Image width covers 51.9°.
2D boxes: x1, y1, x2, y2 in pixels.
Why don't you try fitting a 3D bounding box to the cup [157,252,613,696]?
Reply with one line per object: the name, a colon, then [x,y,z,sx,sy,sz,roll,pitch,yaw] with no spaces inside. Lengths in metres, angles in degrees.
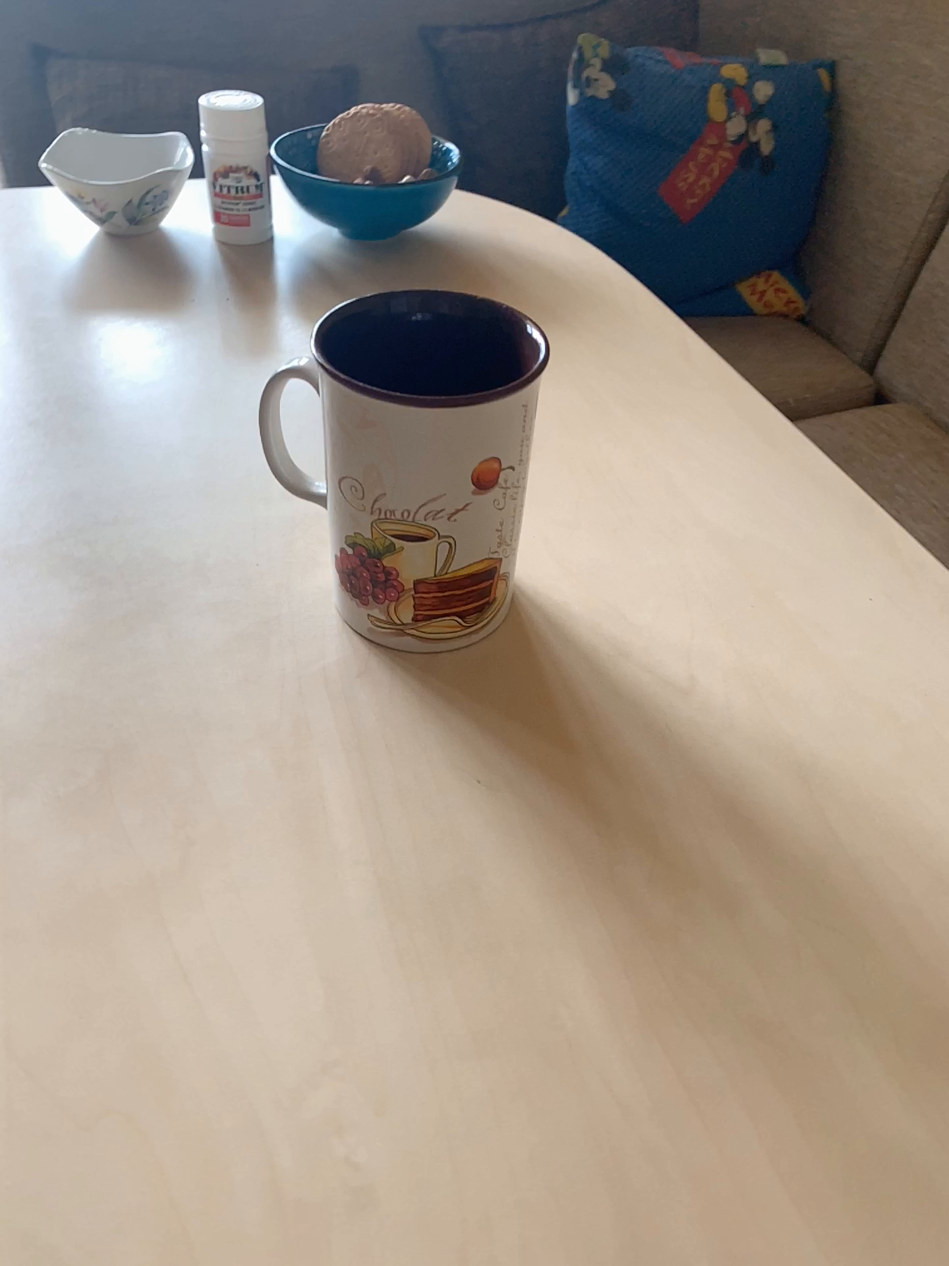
cup: [-0.030,-0.063,0.370,0.130,0.109,0.090,16,43,12]
